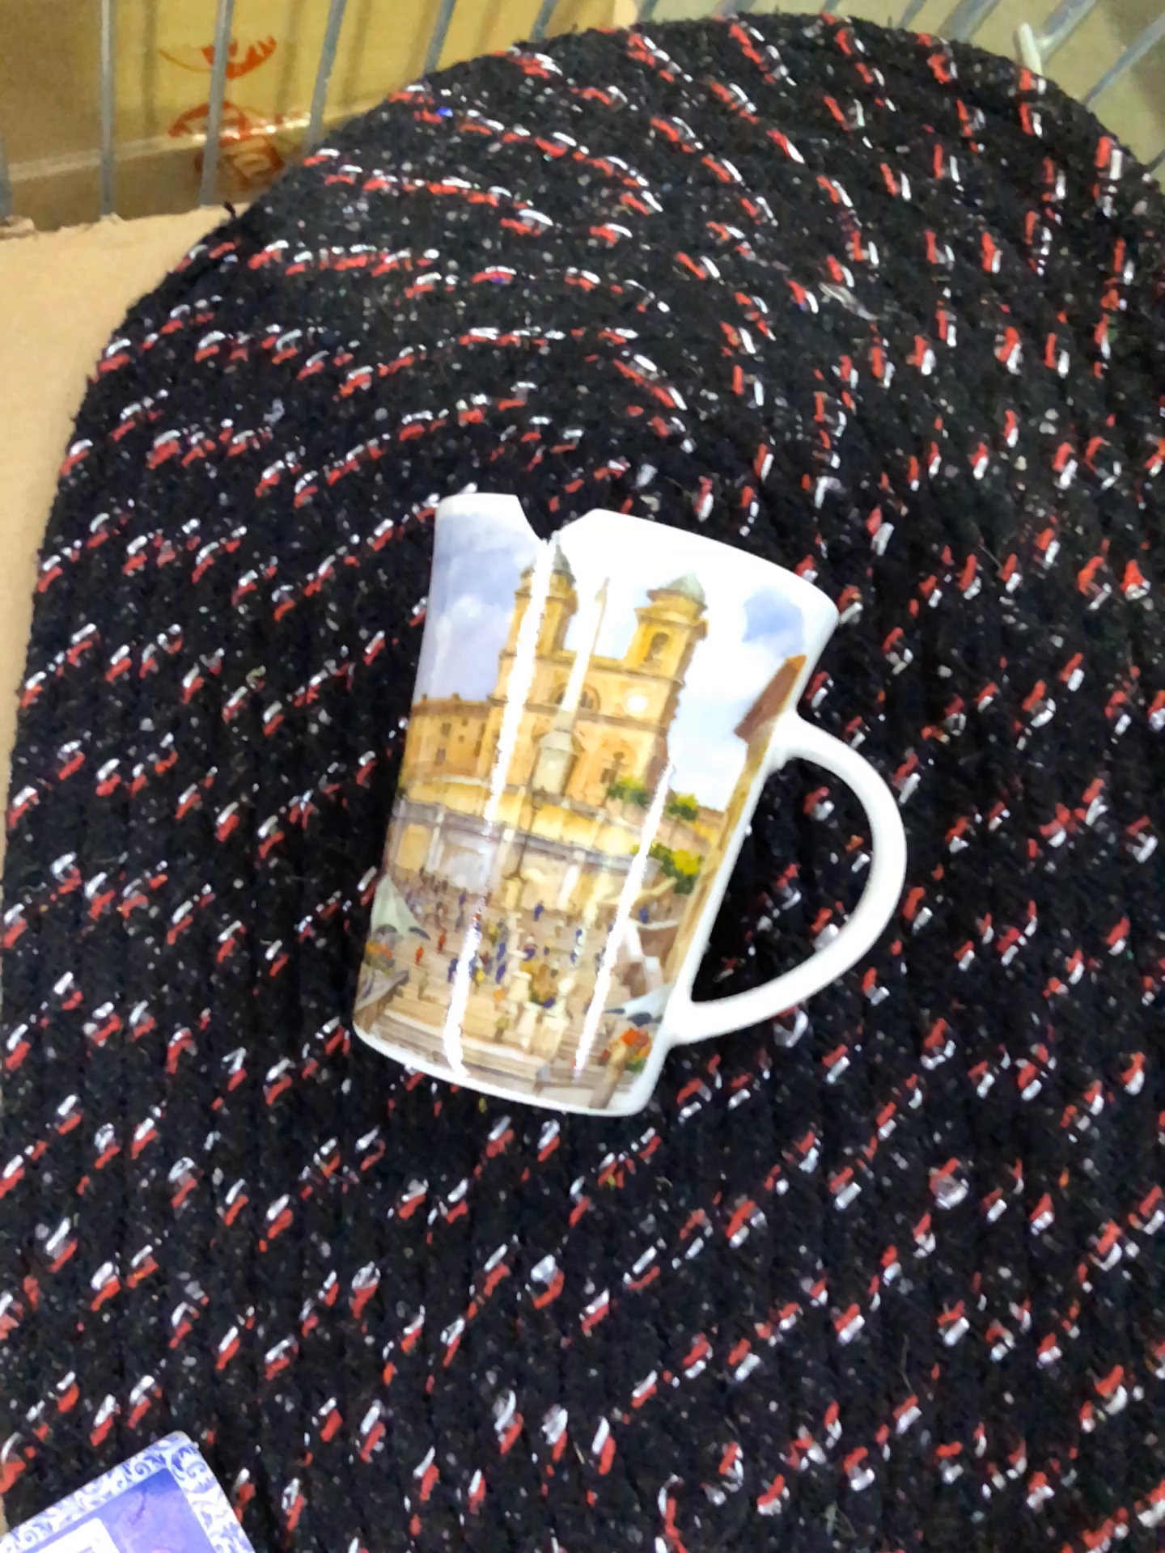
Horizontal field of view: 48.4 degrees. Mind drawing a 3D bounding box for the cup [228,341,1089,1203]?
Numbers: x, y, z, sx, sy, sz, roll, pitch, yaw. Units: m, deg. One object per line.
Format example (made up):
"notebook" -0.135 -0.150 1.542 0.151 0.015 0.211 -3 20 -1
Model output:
"cup" 0.013 0.001 0.247 0.110 0.090 0.110 0 85 -1
